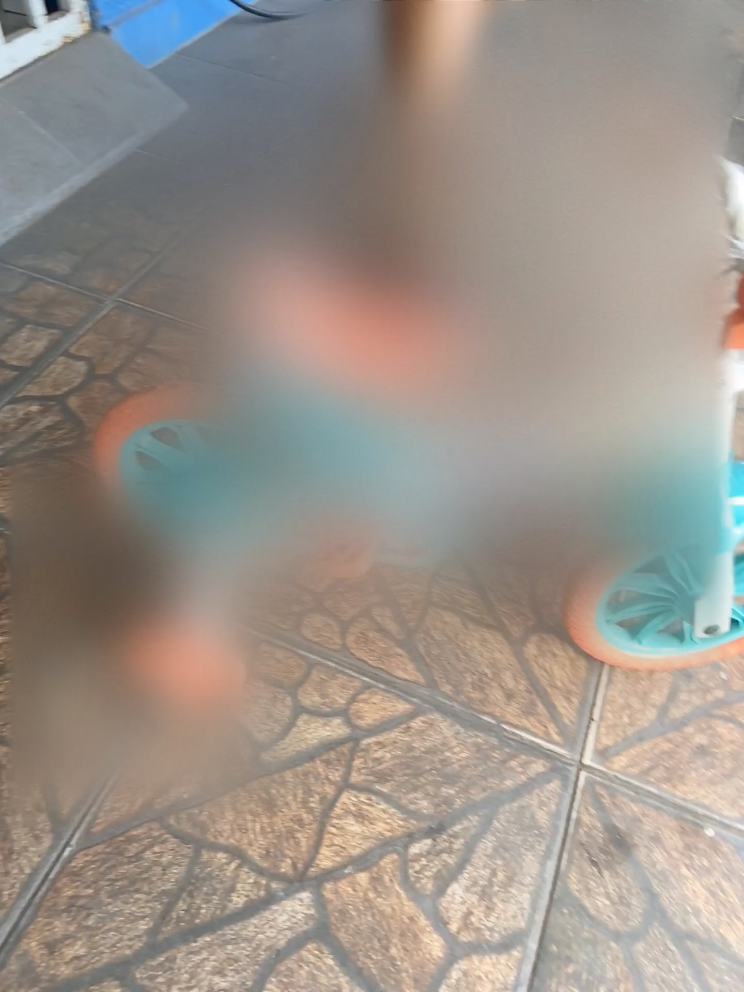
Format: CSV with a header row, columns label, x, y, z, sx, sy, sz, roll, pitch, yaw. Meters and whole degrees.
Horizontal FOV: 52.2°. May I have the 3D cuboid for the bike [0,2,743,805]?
label,x,y,z,sx,sy,sz,roll,pitch,yaw
bike,0.099,-0.086,0.769,0.806,0.534,0.501,7,49,4
